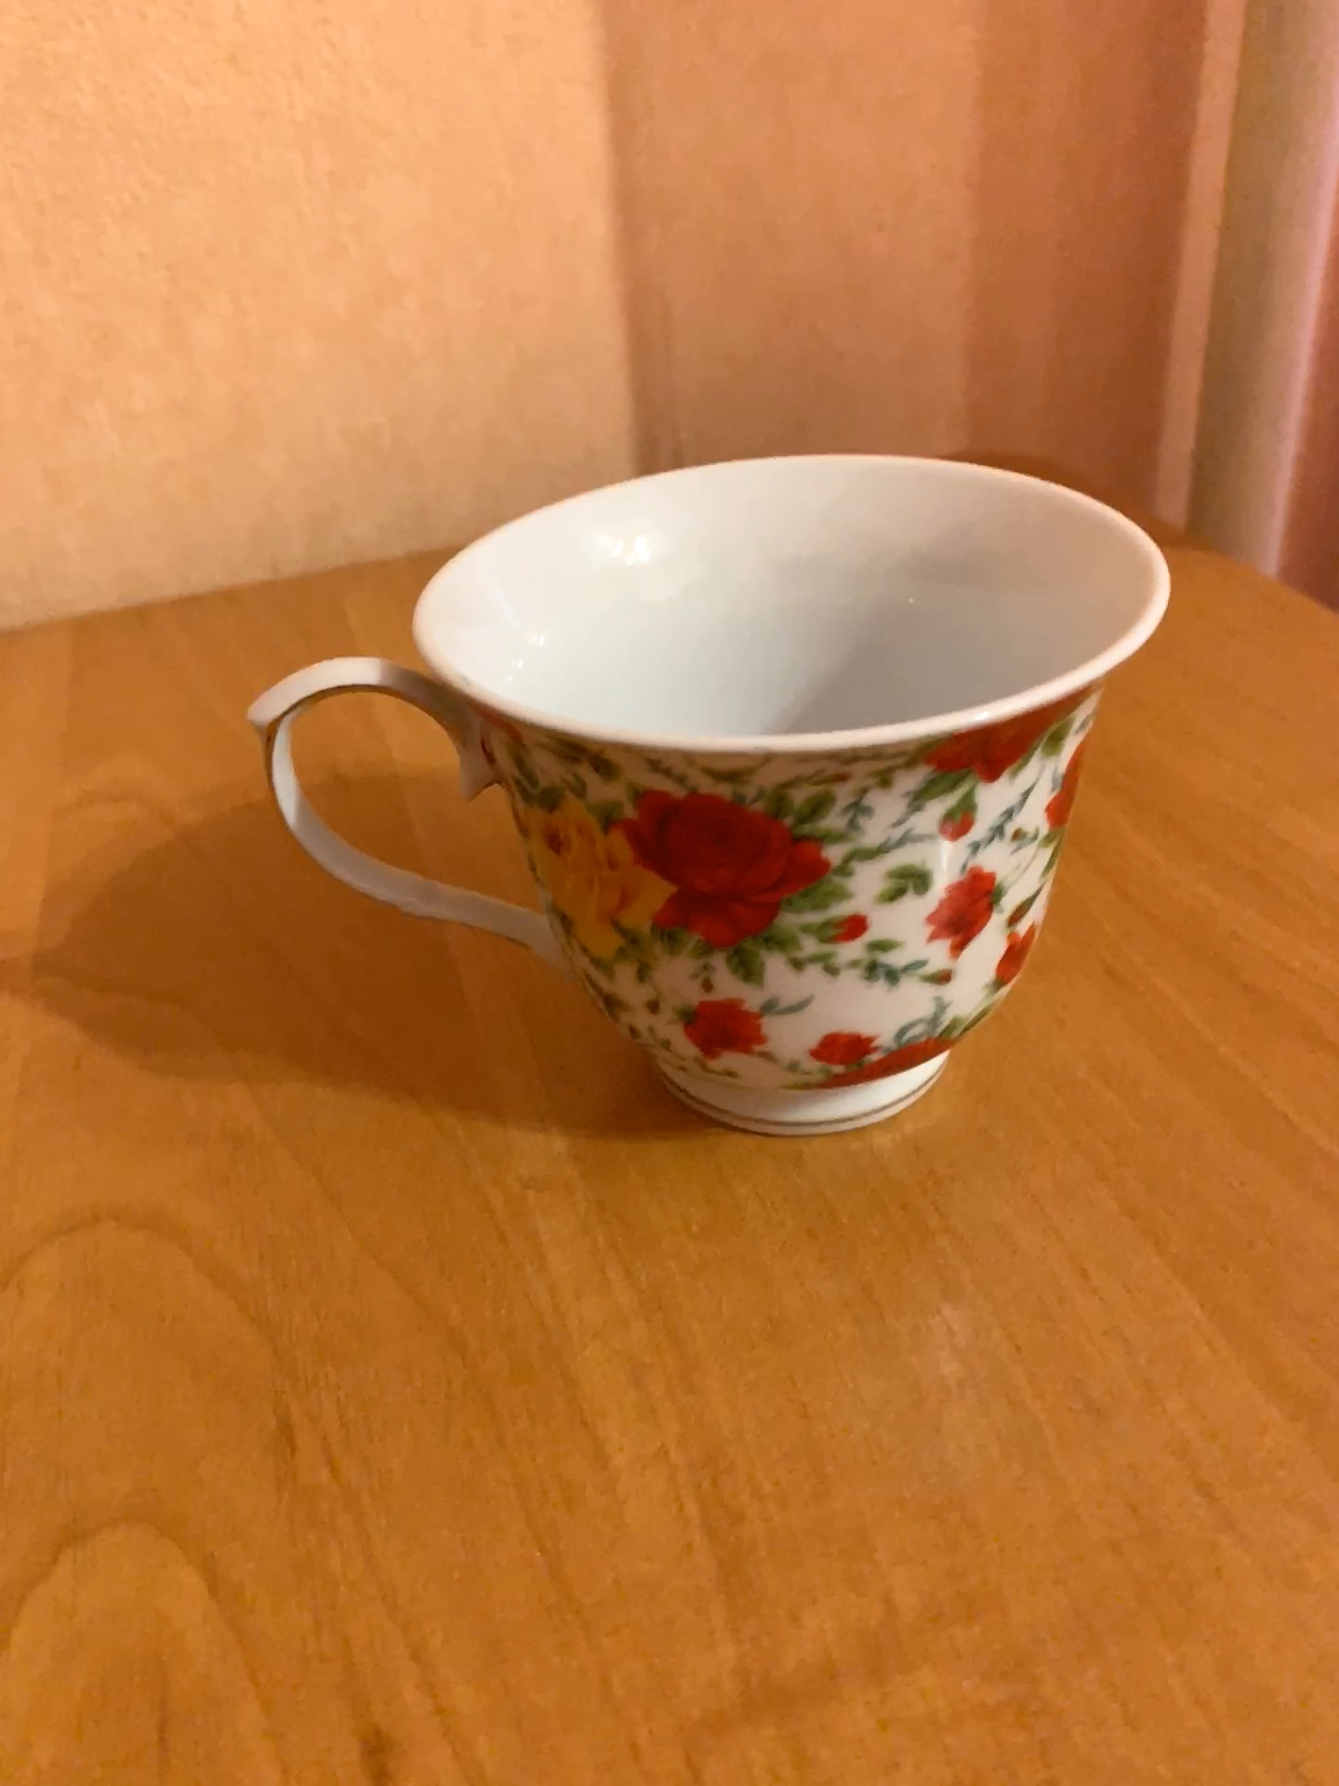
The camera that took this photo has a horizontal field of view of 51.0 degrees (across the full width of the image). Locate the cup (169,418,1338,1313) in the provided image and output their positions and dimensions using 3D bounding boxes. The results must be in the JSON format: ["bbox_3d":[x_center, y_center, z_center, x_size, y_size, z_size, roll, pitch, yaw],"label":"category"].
[{"bbox_3d":[0.007,-0.013,0.198,0.120,0.067,0.100,-8,33,-4],"label":"cup"}]
